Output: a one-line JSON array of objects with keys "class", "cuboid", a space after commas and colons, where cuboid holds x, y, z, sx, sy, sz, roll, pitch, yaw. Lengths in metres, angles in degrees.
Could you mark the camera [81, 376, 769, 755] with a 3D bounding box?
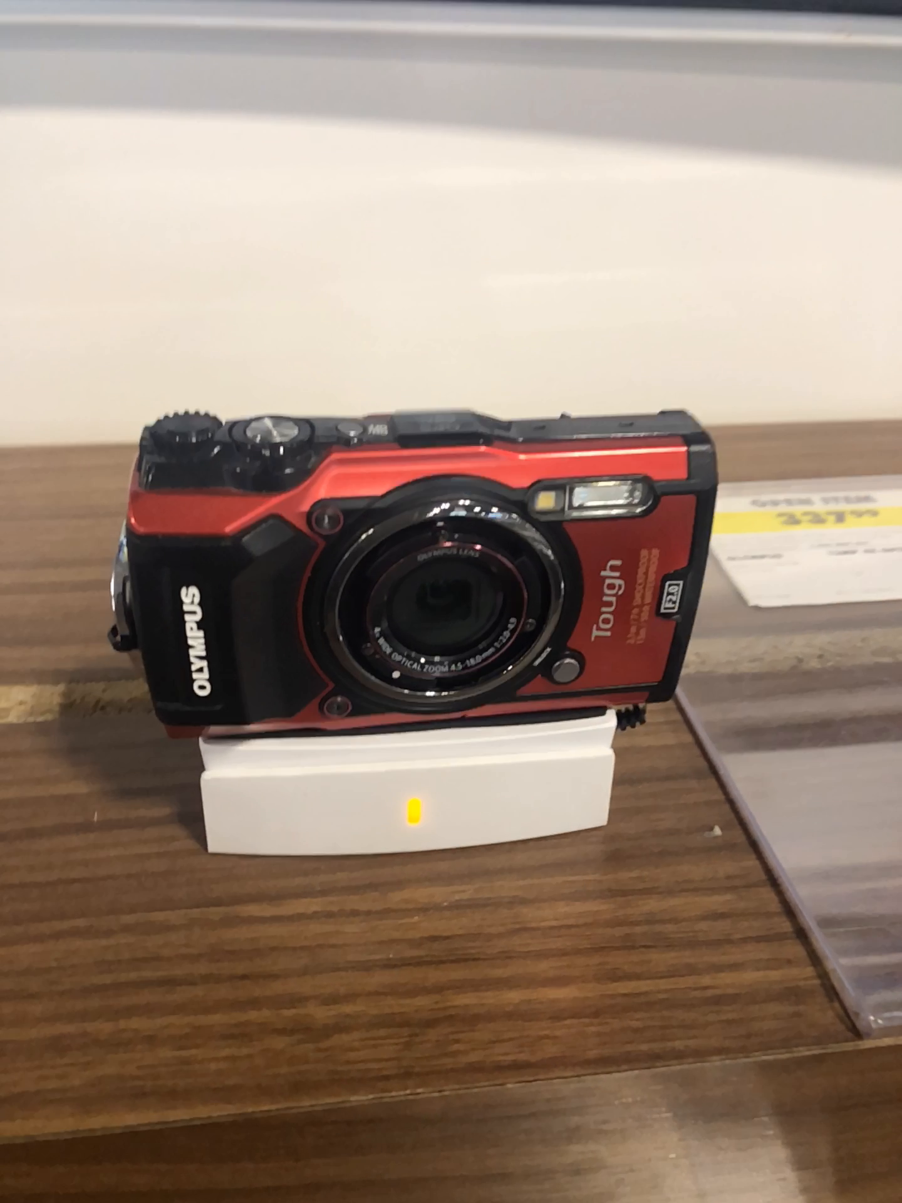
[{"class": "camera", "cuboid": [-0.005, -0.008, 0.198, 0.117, 0.064, 0.030, -2, 31, -7]}]
